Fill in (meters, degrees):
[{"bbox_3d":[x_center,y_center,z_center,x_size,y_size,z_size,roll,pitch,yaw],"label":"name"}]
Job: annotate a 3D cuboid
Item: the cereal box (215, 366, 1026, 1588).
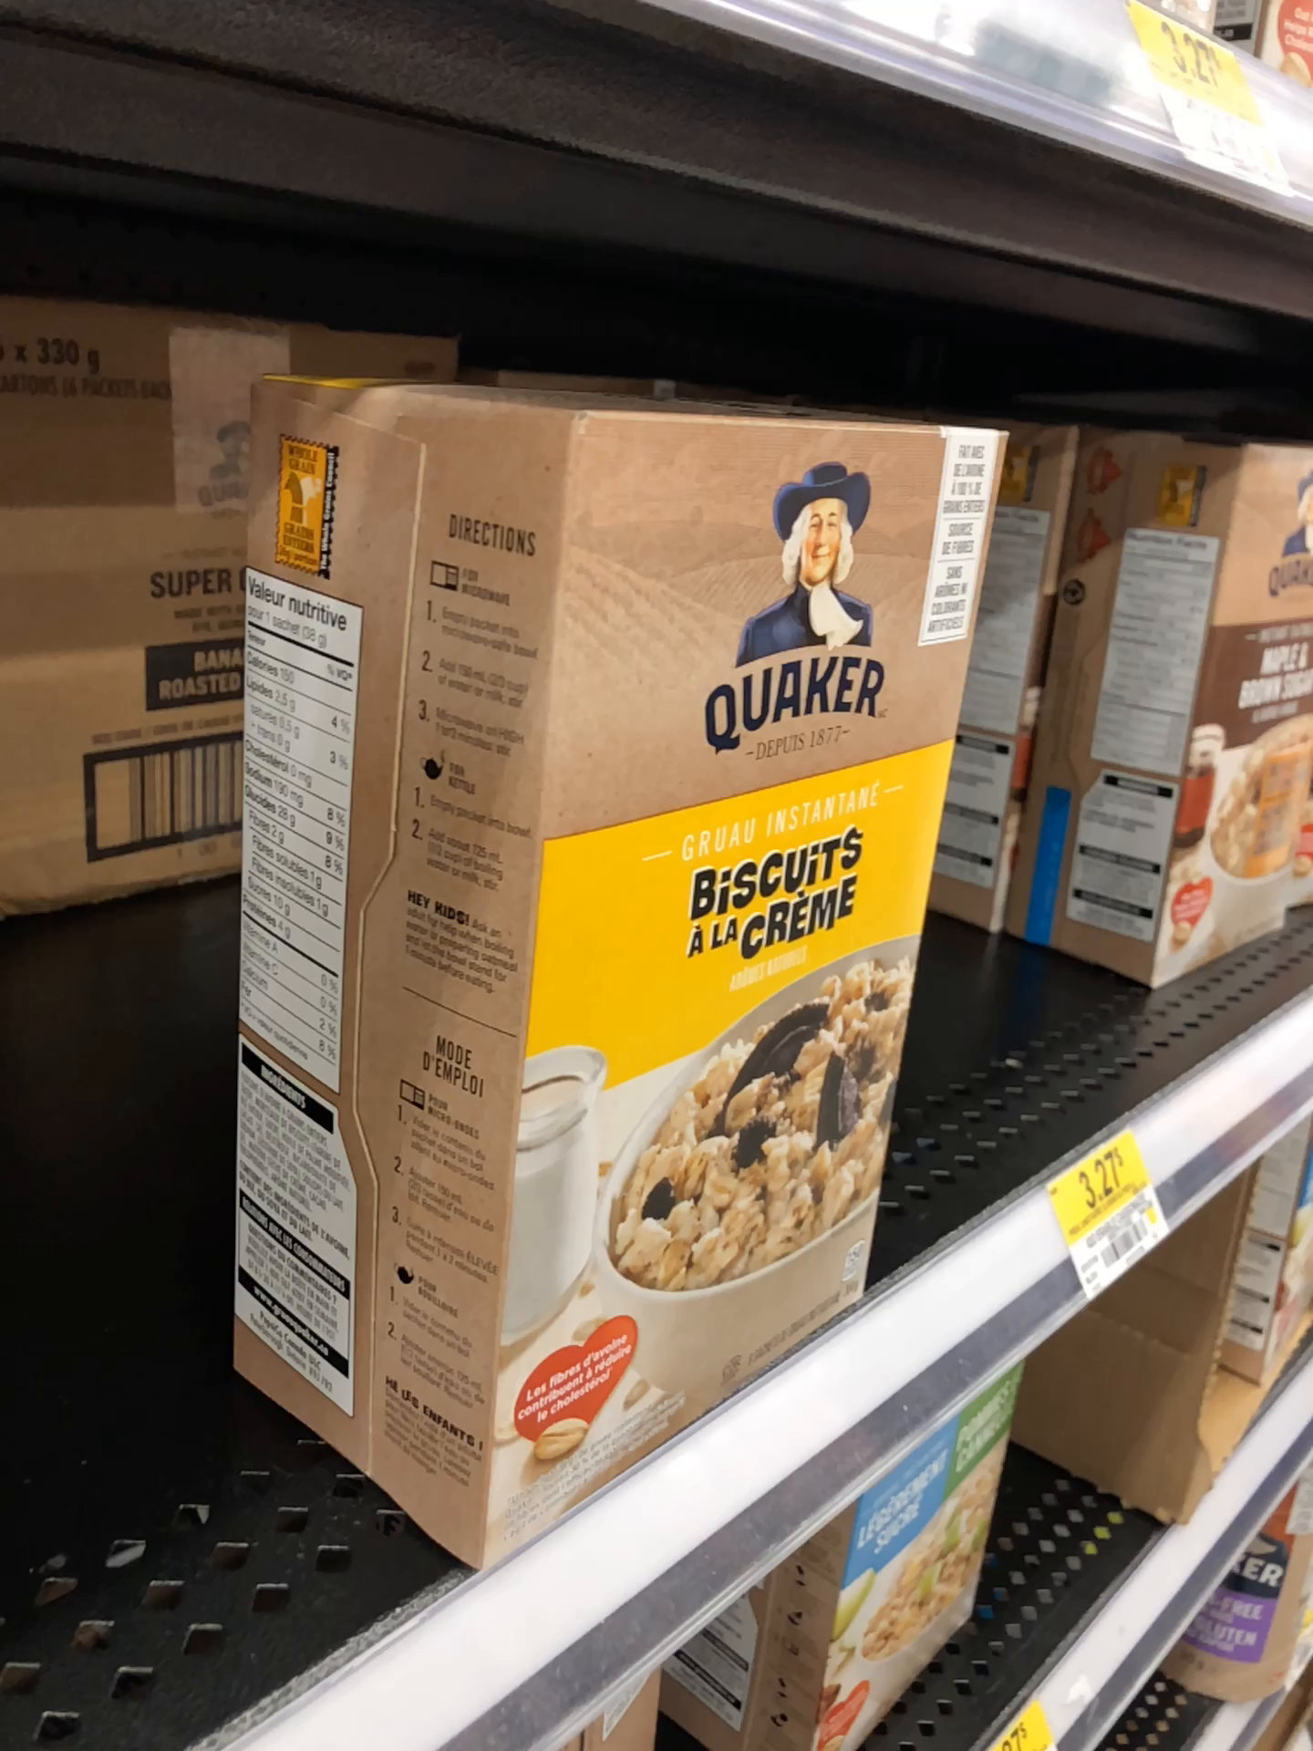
[{"bbox_3d":[-0.010,0.007,0.283,0.080,0.189,0.120,21,24,38],"label":"cereal box"}]
